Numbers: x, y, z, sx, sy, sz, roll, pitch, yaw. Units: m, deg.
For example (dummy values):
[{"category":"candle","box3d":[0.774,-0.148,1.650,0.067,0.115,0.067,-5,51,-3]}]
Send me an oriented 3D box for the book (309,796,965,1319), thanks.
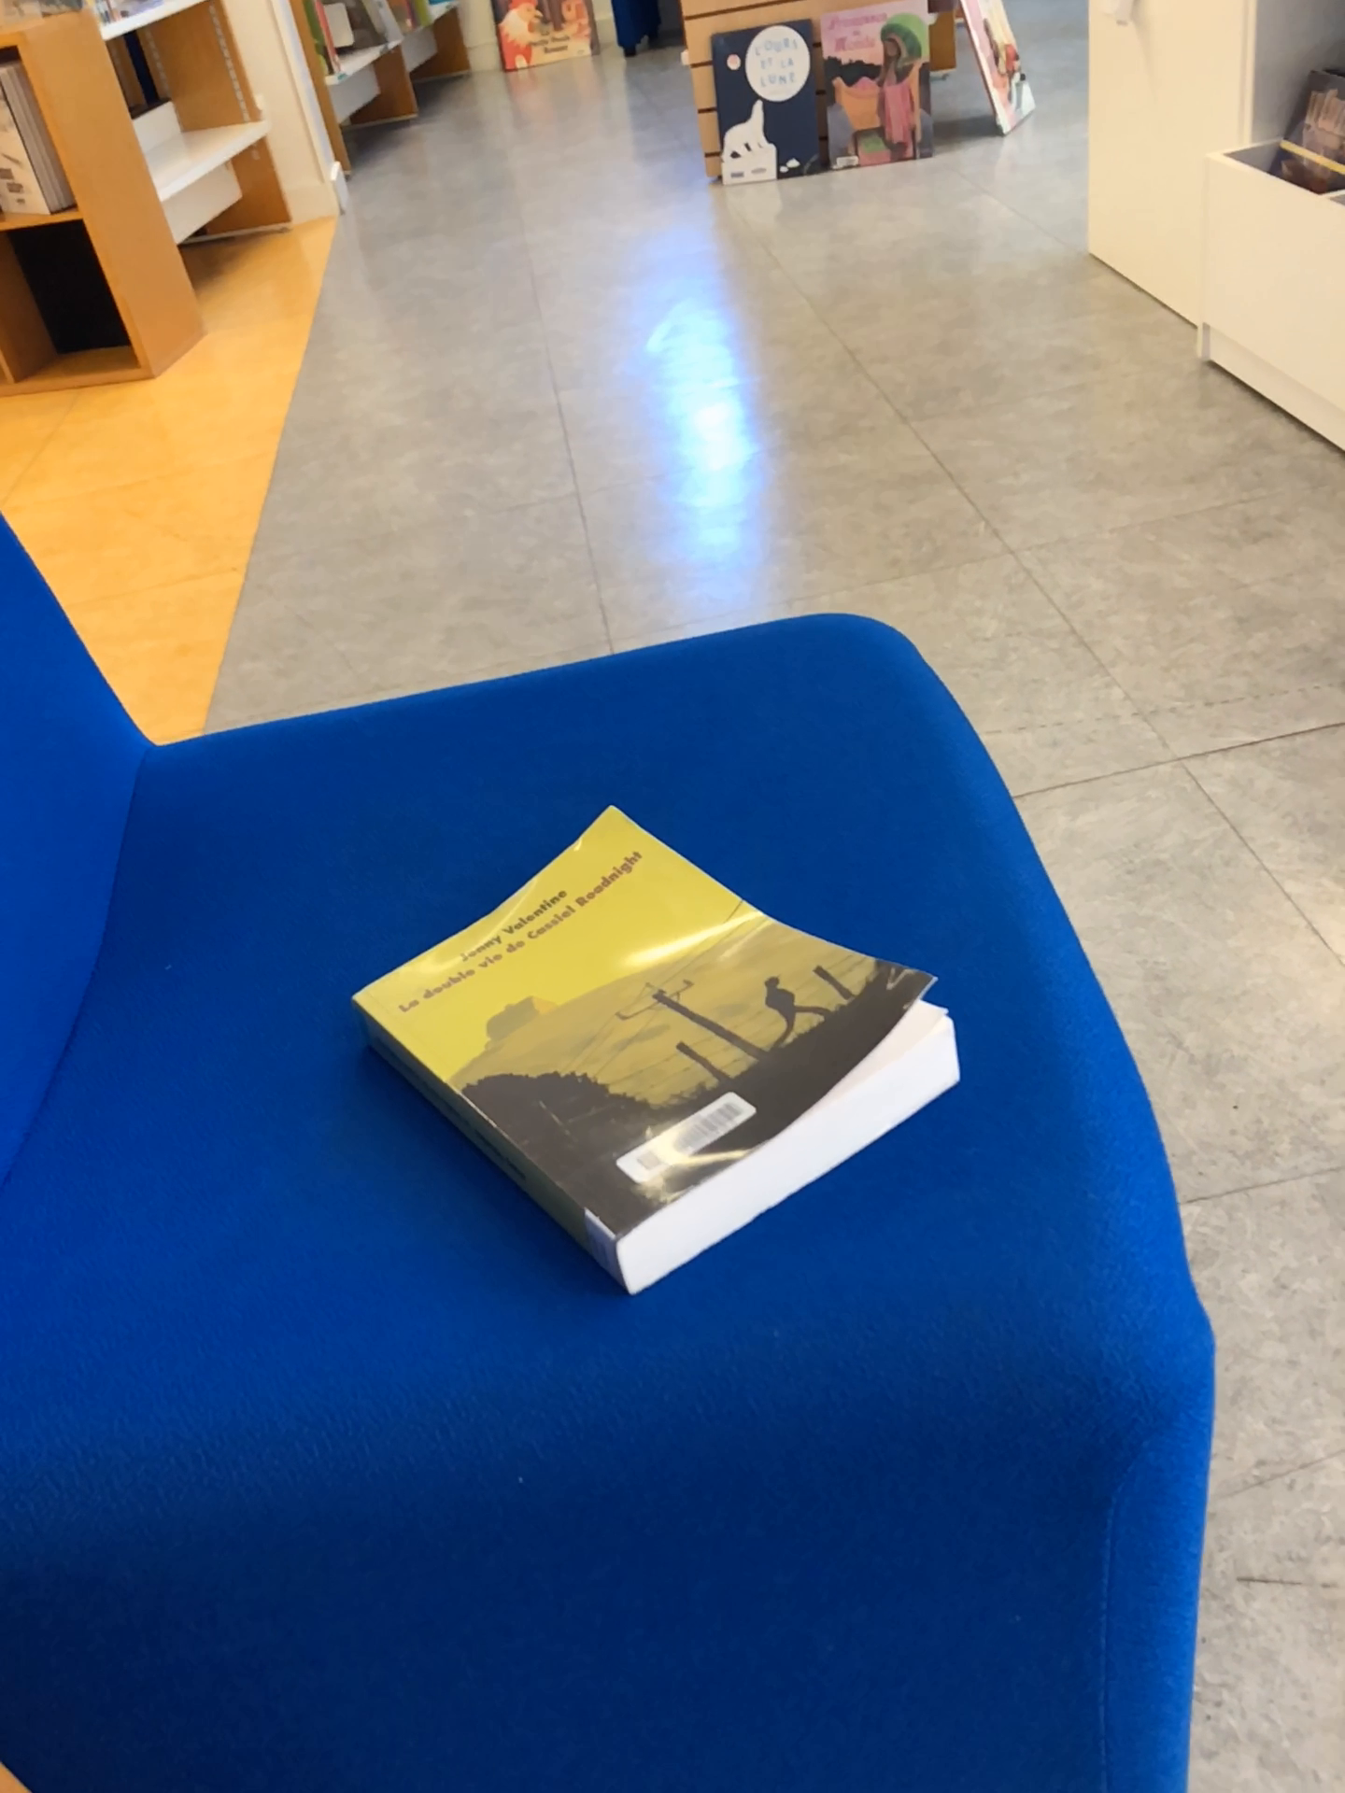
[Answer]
[{"category":"book","box3d":[-0.022,0.042,0.547,0.146,0.040,0.215,-31,35,-23]}]
